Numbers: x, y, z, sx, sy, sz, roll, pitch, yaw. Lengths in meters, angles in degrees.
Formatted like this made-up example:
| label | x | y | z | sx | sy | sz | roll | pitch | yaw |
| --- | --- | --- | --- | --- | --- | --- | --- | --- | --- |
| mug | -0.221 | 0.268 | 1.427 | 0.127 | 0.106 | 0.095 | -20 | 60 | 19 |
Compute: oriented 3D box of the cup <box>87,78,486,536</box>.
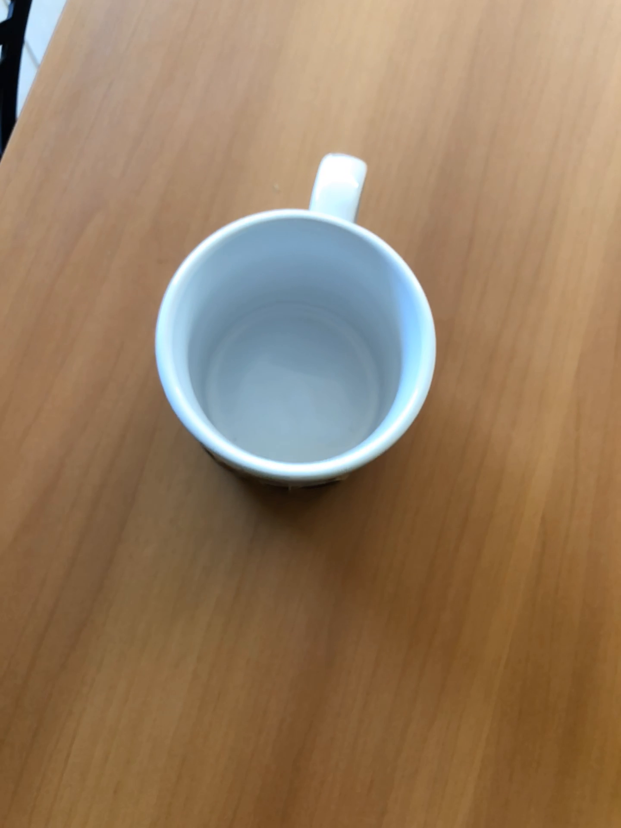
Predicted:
| label | x | y | z | sx | sy | sz | roll | pitch | yaw |
| --- | --- | --- | --- | --- | --- | --- | --- | --- | --- |
| cup | -0.007 | -0.036 | 0.304 | 0.110 | 0.100 | 0.150 | 15 | 81 | 0 |
